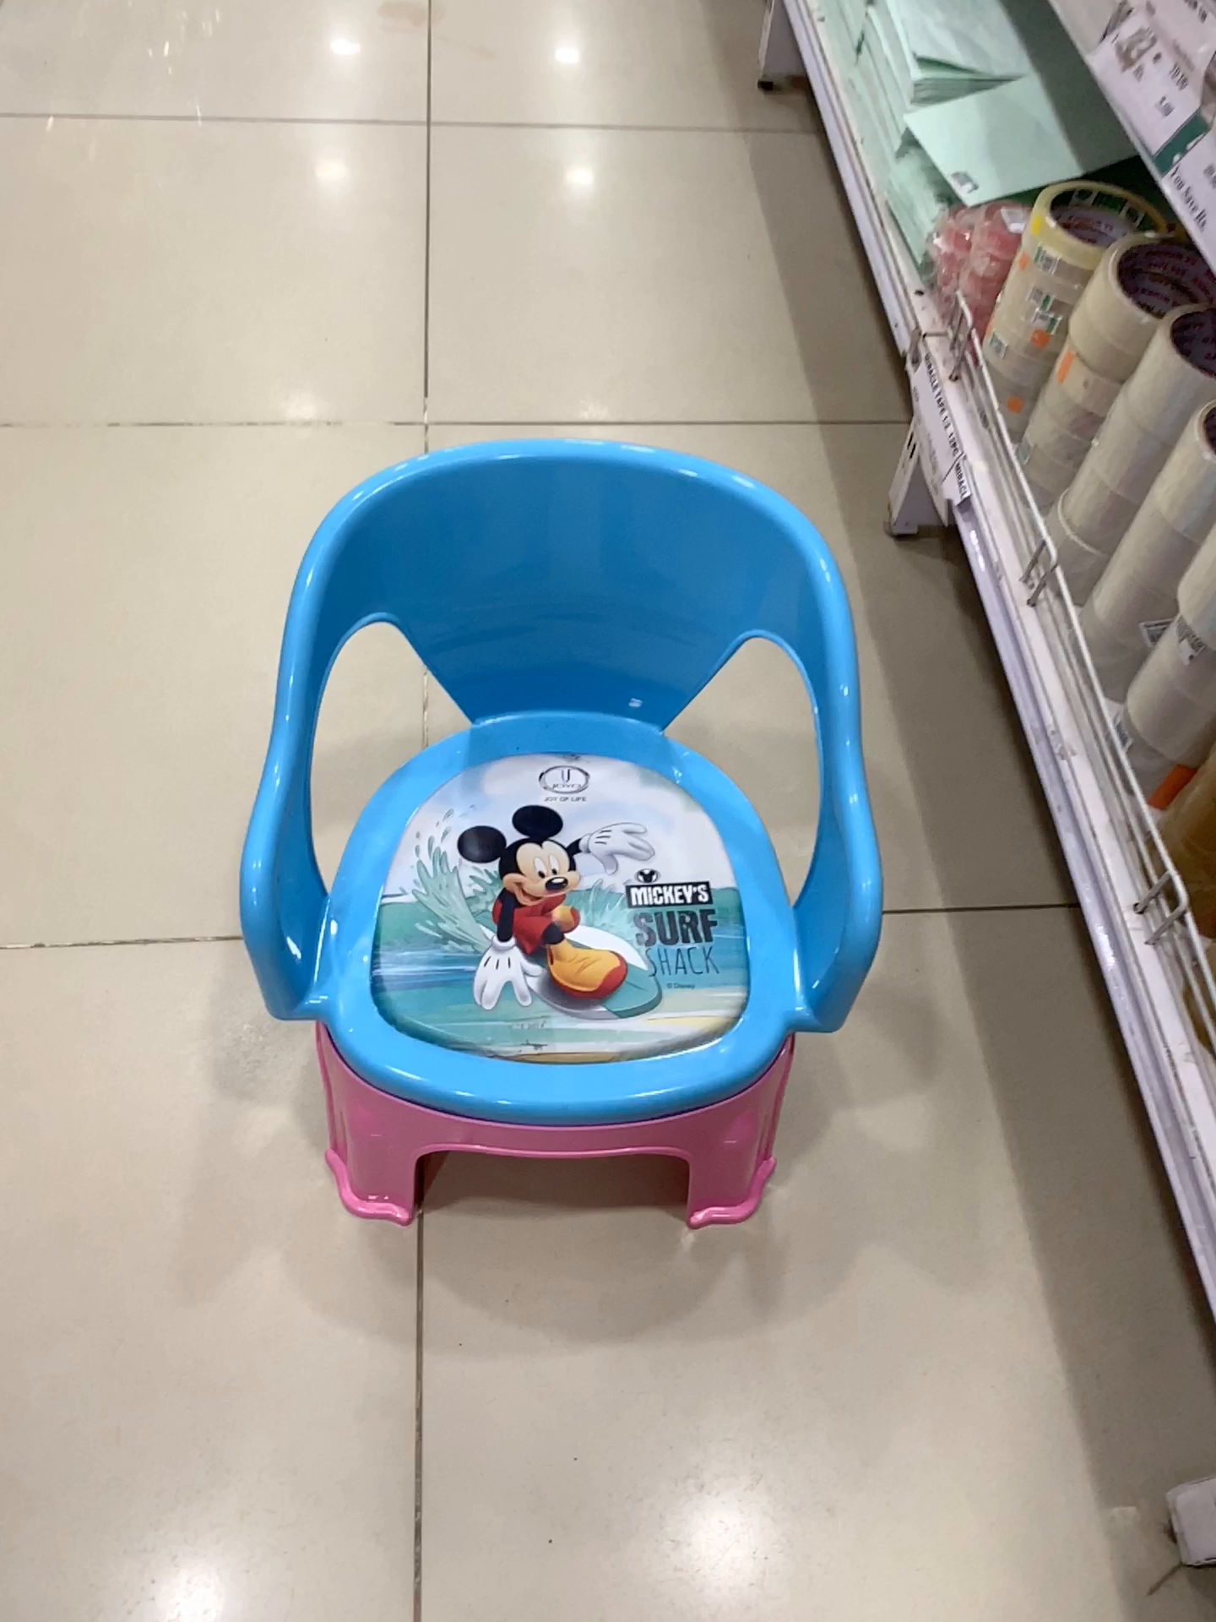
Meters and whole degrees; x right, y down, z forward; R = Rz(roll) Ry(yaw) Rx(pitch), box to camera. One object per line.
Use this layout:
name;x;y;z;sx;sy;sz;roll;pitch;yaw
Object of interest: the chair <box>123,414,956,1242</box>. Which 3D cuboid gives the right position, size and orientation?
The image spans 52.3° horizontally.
chair;-0.034;0.021;0.762;0.350;0.319;0.391;1;56;-2
